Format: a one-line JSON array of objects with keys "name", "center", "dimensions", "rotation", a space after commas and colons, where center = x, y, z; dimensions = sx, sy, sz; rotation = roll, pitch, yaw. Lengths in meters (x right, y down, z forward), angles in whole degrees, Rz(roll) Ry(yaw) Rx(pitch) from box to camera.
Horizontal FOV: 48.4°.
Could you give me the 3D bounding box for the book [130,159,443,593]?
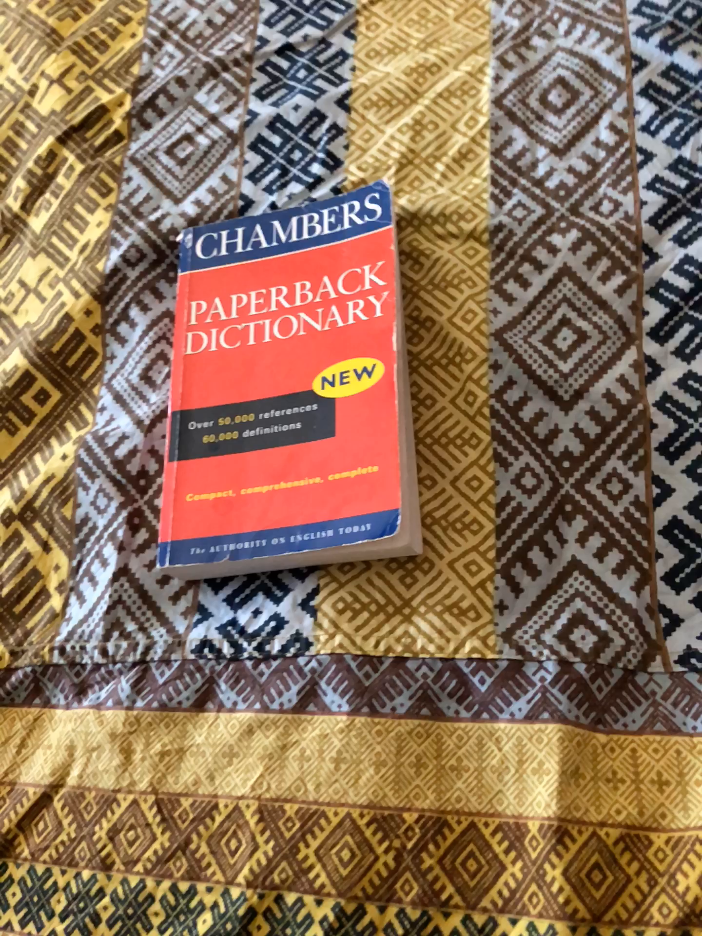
[{"name": "book", "center": [-0.029, -0.038, 0.339], "dimensions": [0.117, 0.044, 0.166], "rotation": [-9, 70, 16]}]
